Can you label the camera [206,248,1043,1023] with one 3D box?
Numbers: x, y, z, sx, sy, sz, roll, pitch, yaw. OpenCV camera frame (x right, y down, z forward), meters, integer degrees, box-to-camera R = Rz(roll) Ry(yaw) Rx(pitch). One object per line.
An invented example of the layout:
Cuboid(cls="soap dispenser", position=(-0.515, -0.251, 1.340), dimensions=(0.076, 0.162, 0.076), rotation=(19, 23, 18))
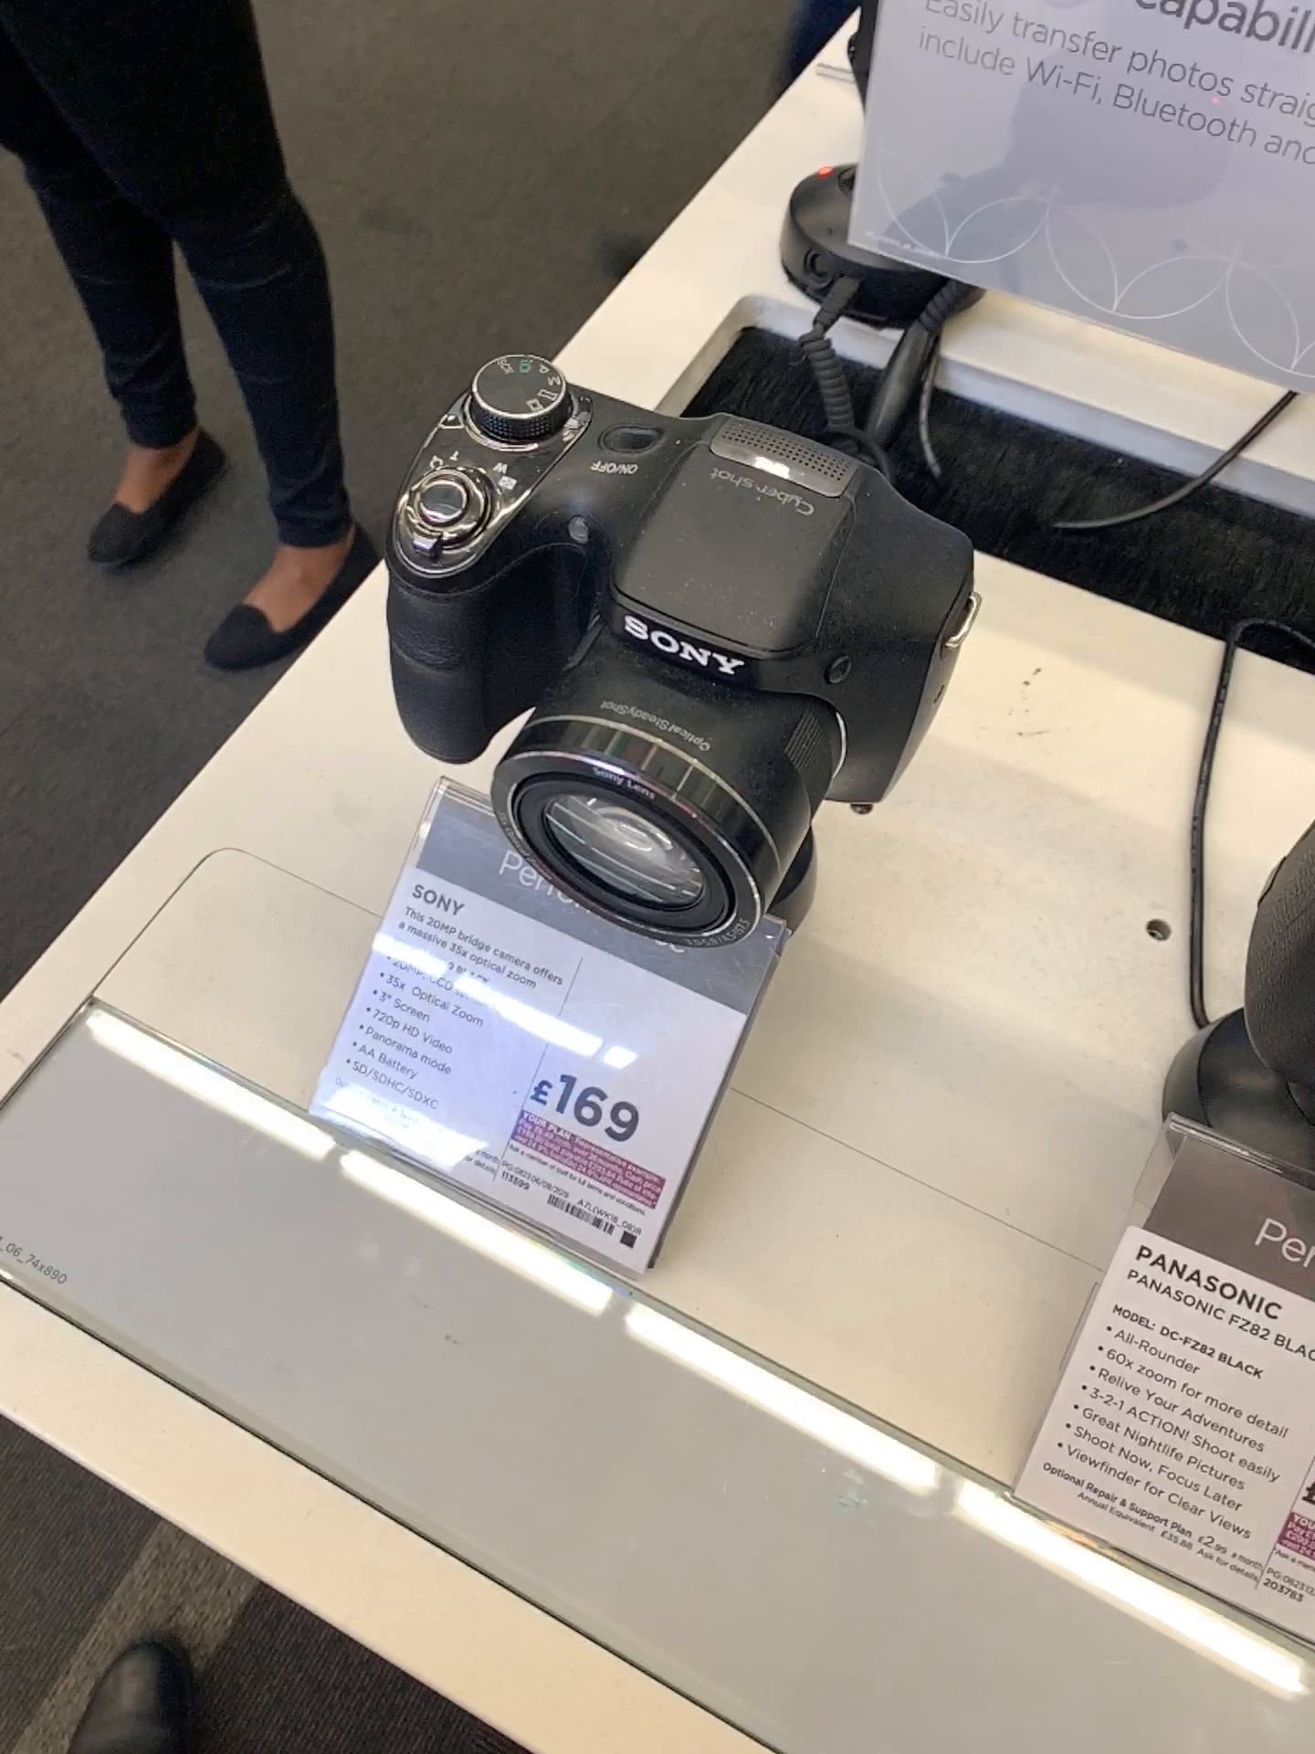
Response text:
Cuboid(cls="camera", position=(-0.005, -0.052, 0.292), dimensions=(0.130, 0.089, 0.091), rotation=(24, 61, 13))
